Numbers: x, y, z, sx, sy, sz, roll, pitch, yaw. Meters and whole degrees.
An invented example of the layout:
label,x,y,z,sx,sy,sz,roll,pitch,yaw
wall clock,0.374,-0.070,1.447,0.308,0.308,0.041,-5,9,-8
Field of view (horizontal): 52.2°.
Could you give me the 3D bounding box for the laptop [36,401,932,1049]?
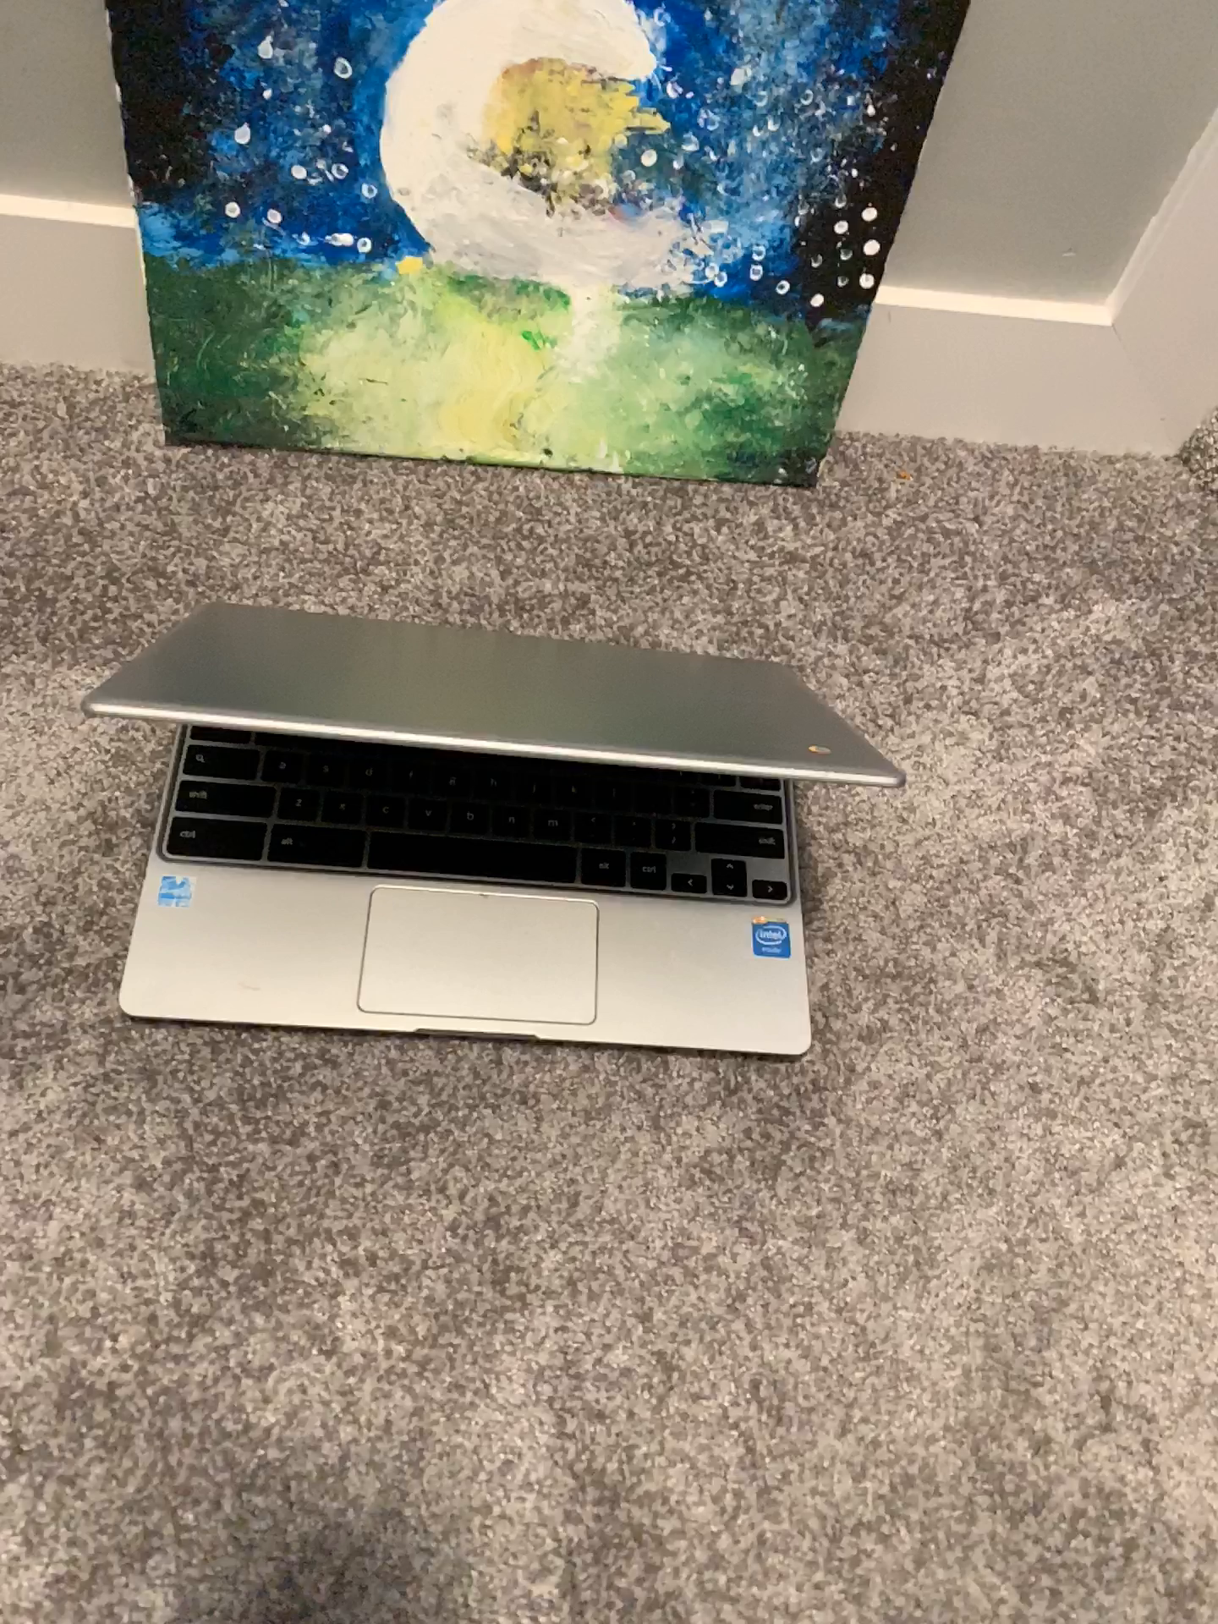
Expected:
label,x,y,z,sx,sy,sz,roll,pitch,yaw
laptop,-0.044,-0.027,0.519,0.294,0.144,0.200,5,61,-8
